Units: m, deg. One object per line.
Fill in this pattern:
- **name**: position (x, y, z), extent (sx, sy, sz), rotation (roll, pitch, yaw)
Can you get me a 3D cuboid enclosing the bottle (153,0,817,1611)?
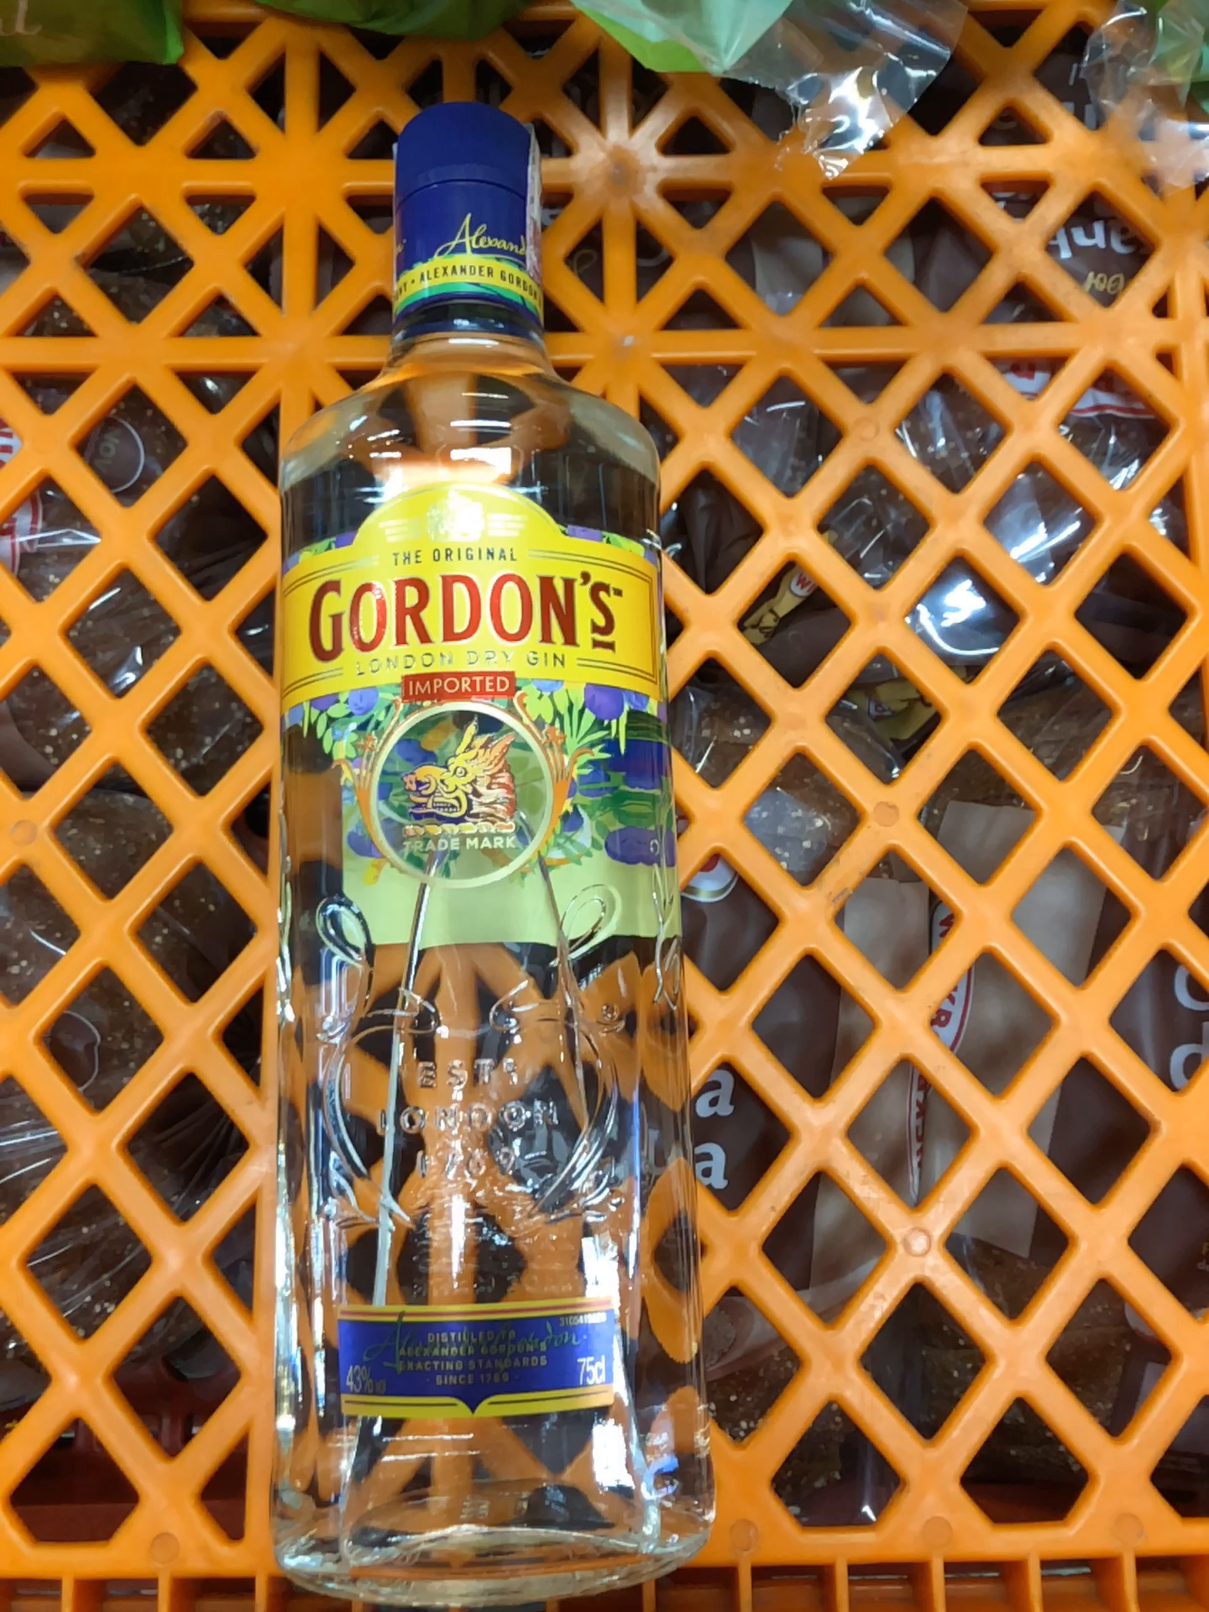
- **bottle**: position (-0.026, -0.017, 0.275), extent (0.100, 0.100, 0.310), rotation (-2, 81, -3)
